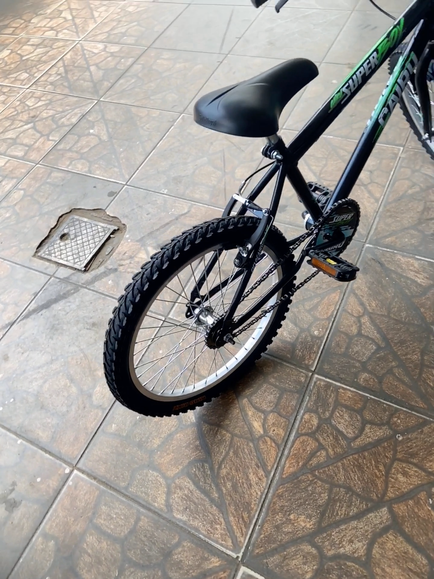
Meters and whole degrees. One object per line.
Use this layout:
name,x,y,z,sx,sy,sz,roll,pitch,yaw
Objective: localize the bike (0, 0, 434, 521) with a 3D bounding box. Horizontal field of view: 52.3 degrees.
bike,0.138,-0.323,1.002,0.600,0.935,1.273,33,65,26
